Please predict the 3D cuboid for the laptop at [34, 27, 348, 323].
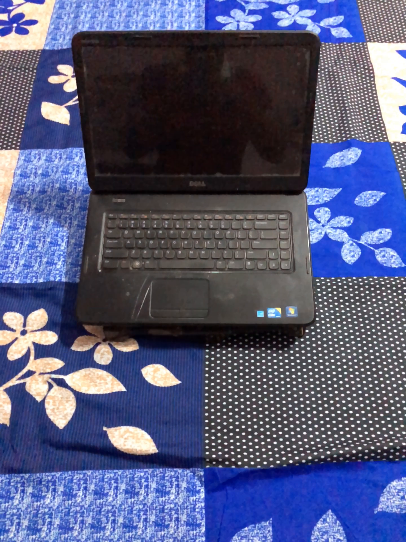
[{"bbox_3d":[-0.011,-0.145,0.679,0.363,0.187,0.390,0,65,0],"label":"laptop"}]
